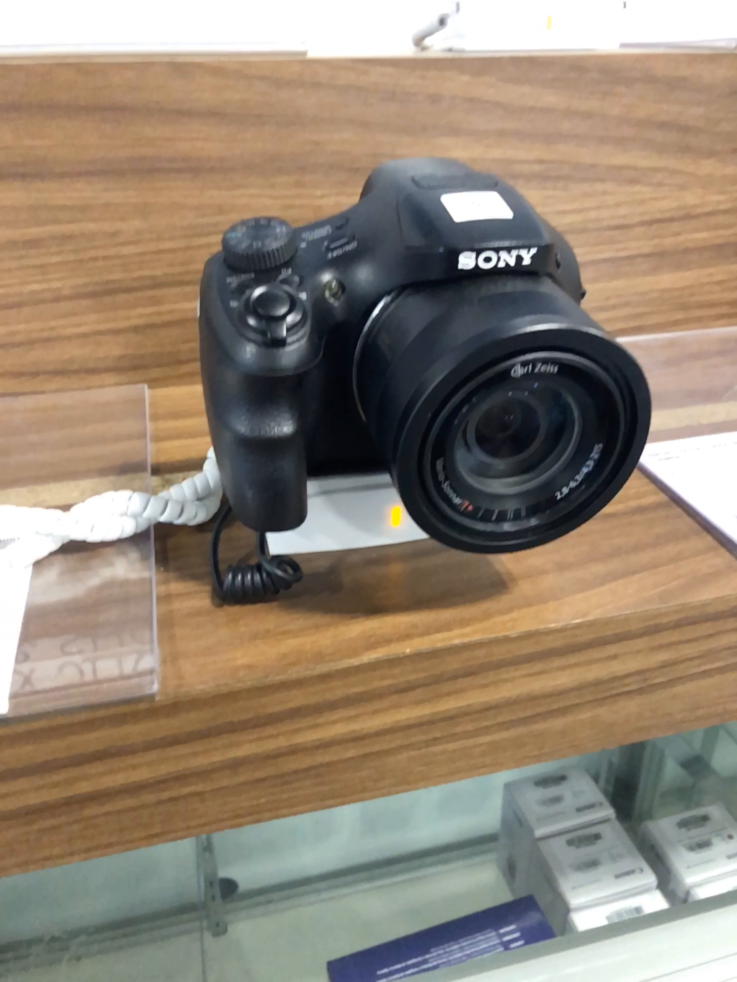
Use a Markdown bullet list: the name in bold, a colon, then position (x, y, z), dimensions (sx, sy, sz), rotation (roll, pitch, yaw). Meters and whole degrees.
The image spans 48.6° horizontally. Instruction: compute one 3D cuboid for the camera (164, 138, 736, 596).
- **camera**: position (0.013, -0.052, 0.253), dimensions (0.130, 0.089, 0.131), rotation (-8, 29, -14)
